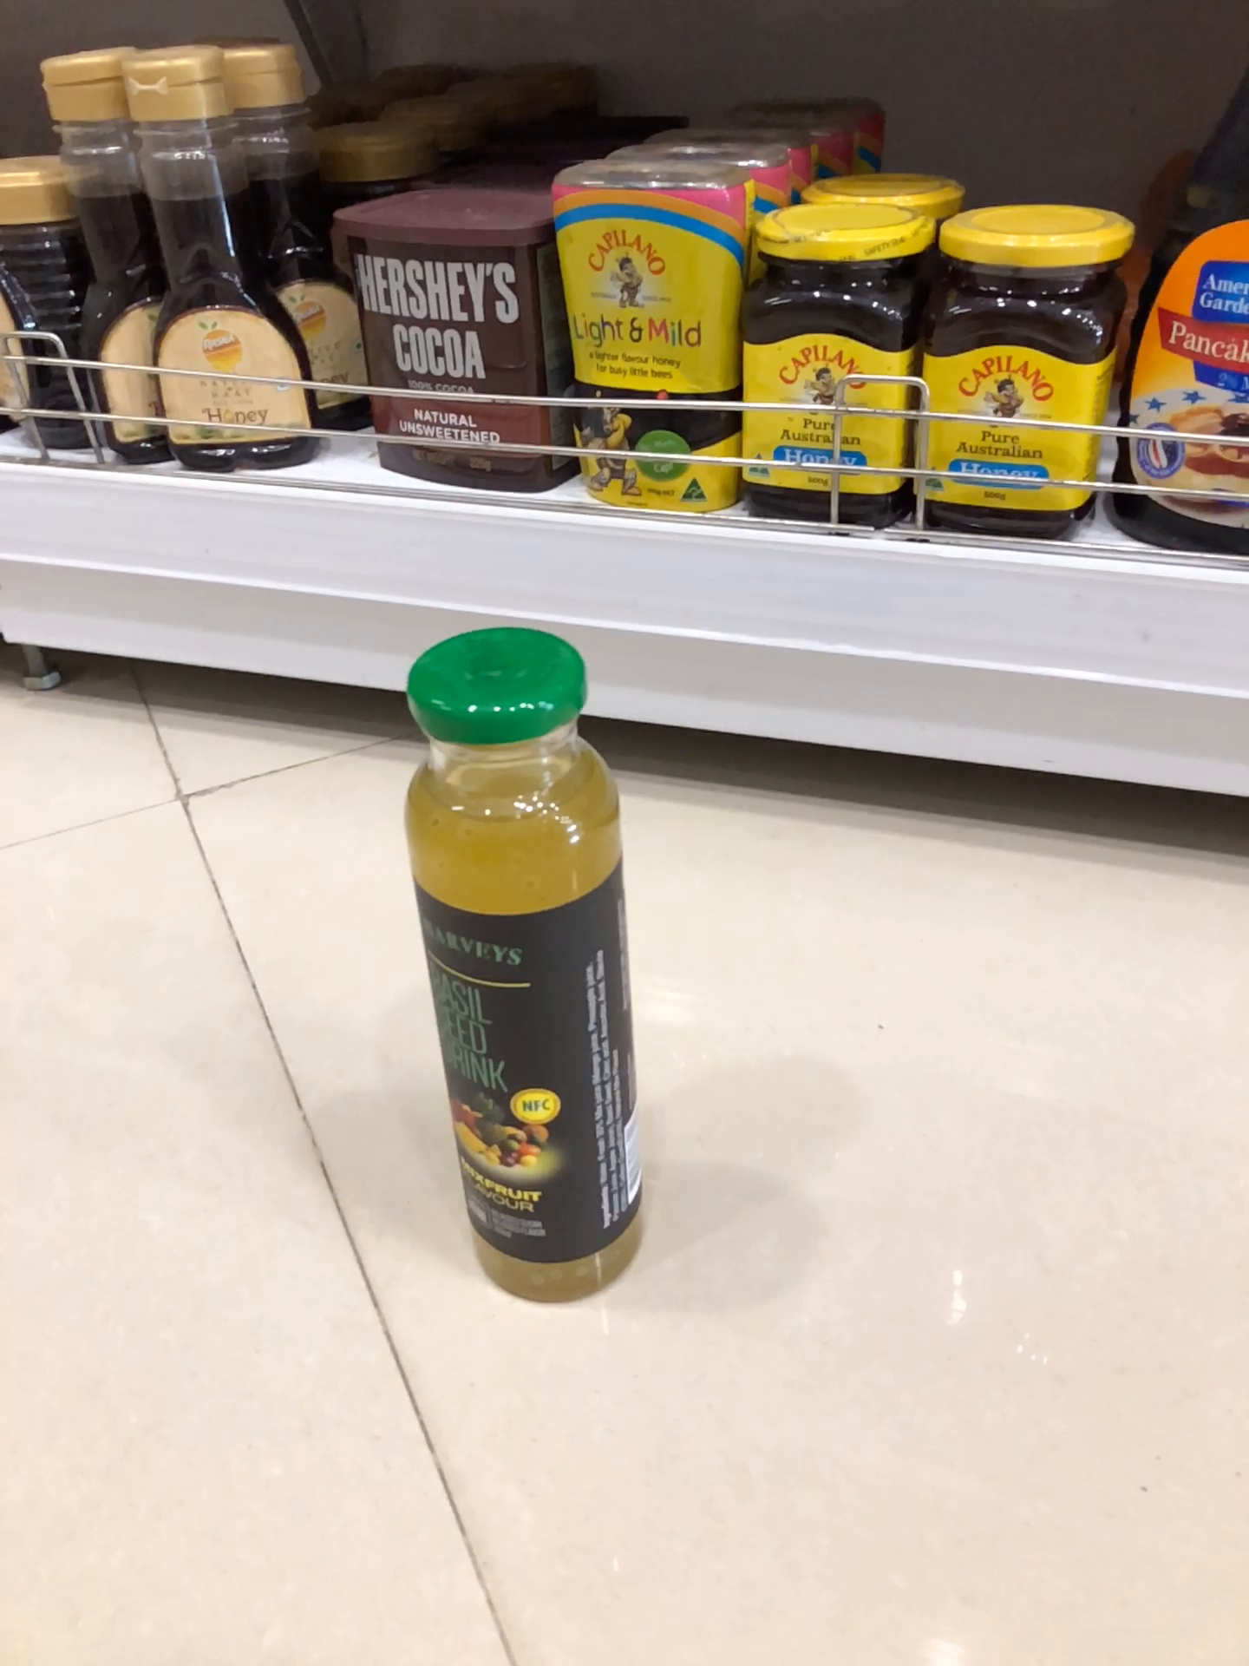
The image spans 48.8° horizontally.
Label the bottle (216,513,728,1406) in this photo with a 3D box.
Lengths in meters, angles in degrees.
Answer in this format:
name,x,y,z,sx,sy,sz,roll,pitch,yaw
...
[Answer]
name,x,y,z,sx,sy,sz,roll,pitch,yaw
bottle,-0.027,0.035,0.341,0.080,0.199,0.070,22,41,32
